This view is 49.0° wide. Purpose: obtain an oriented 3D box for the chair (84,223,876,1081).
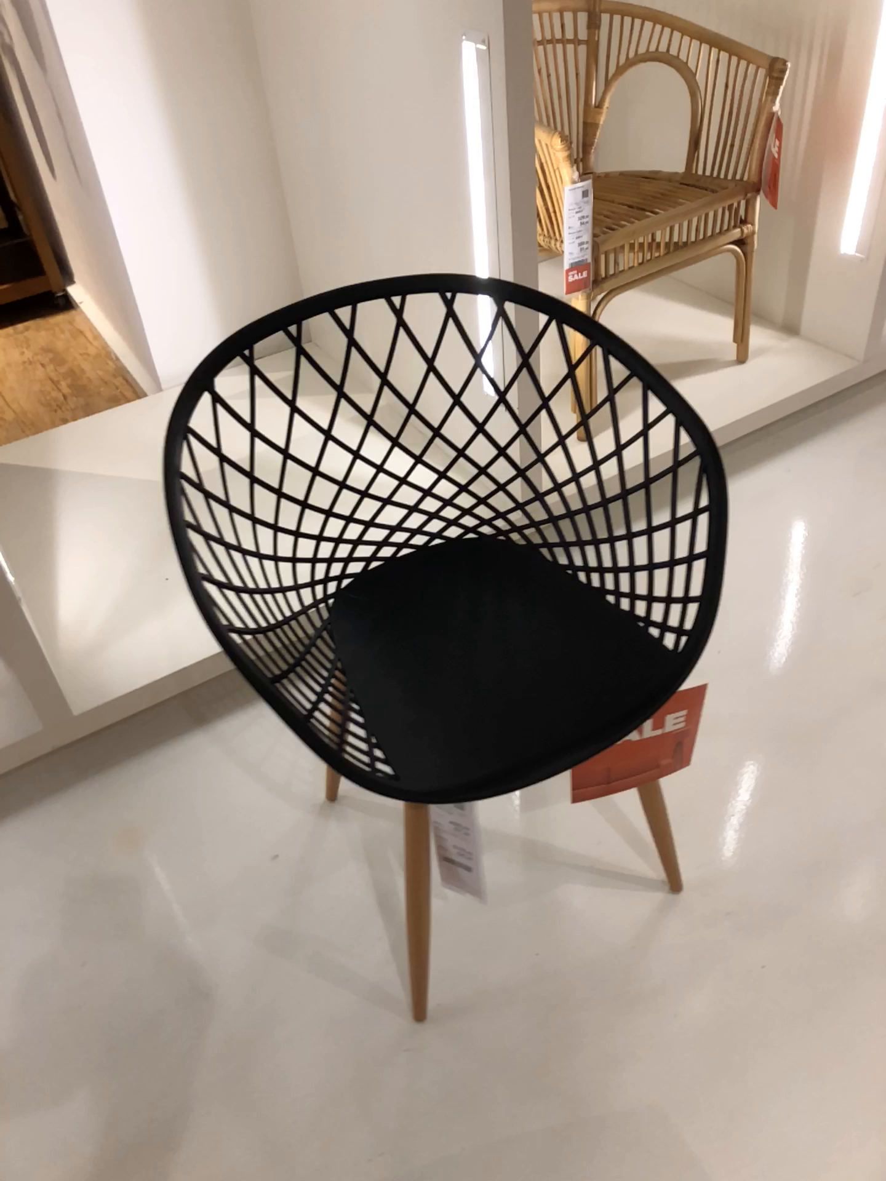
[{"bbox_3d":[0.017,0.045,1.237,0.621,0.705,0.604,-21,42,-16],"label":"chair"}]
